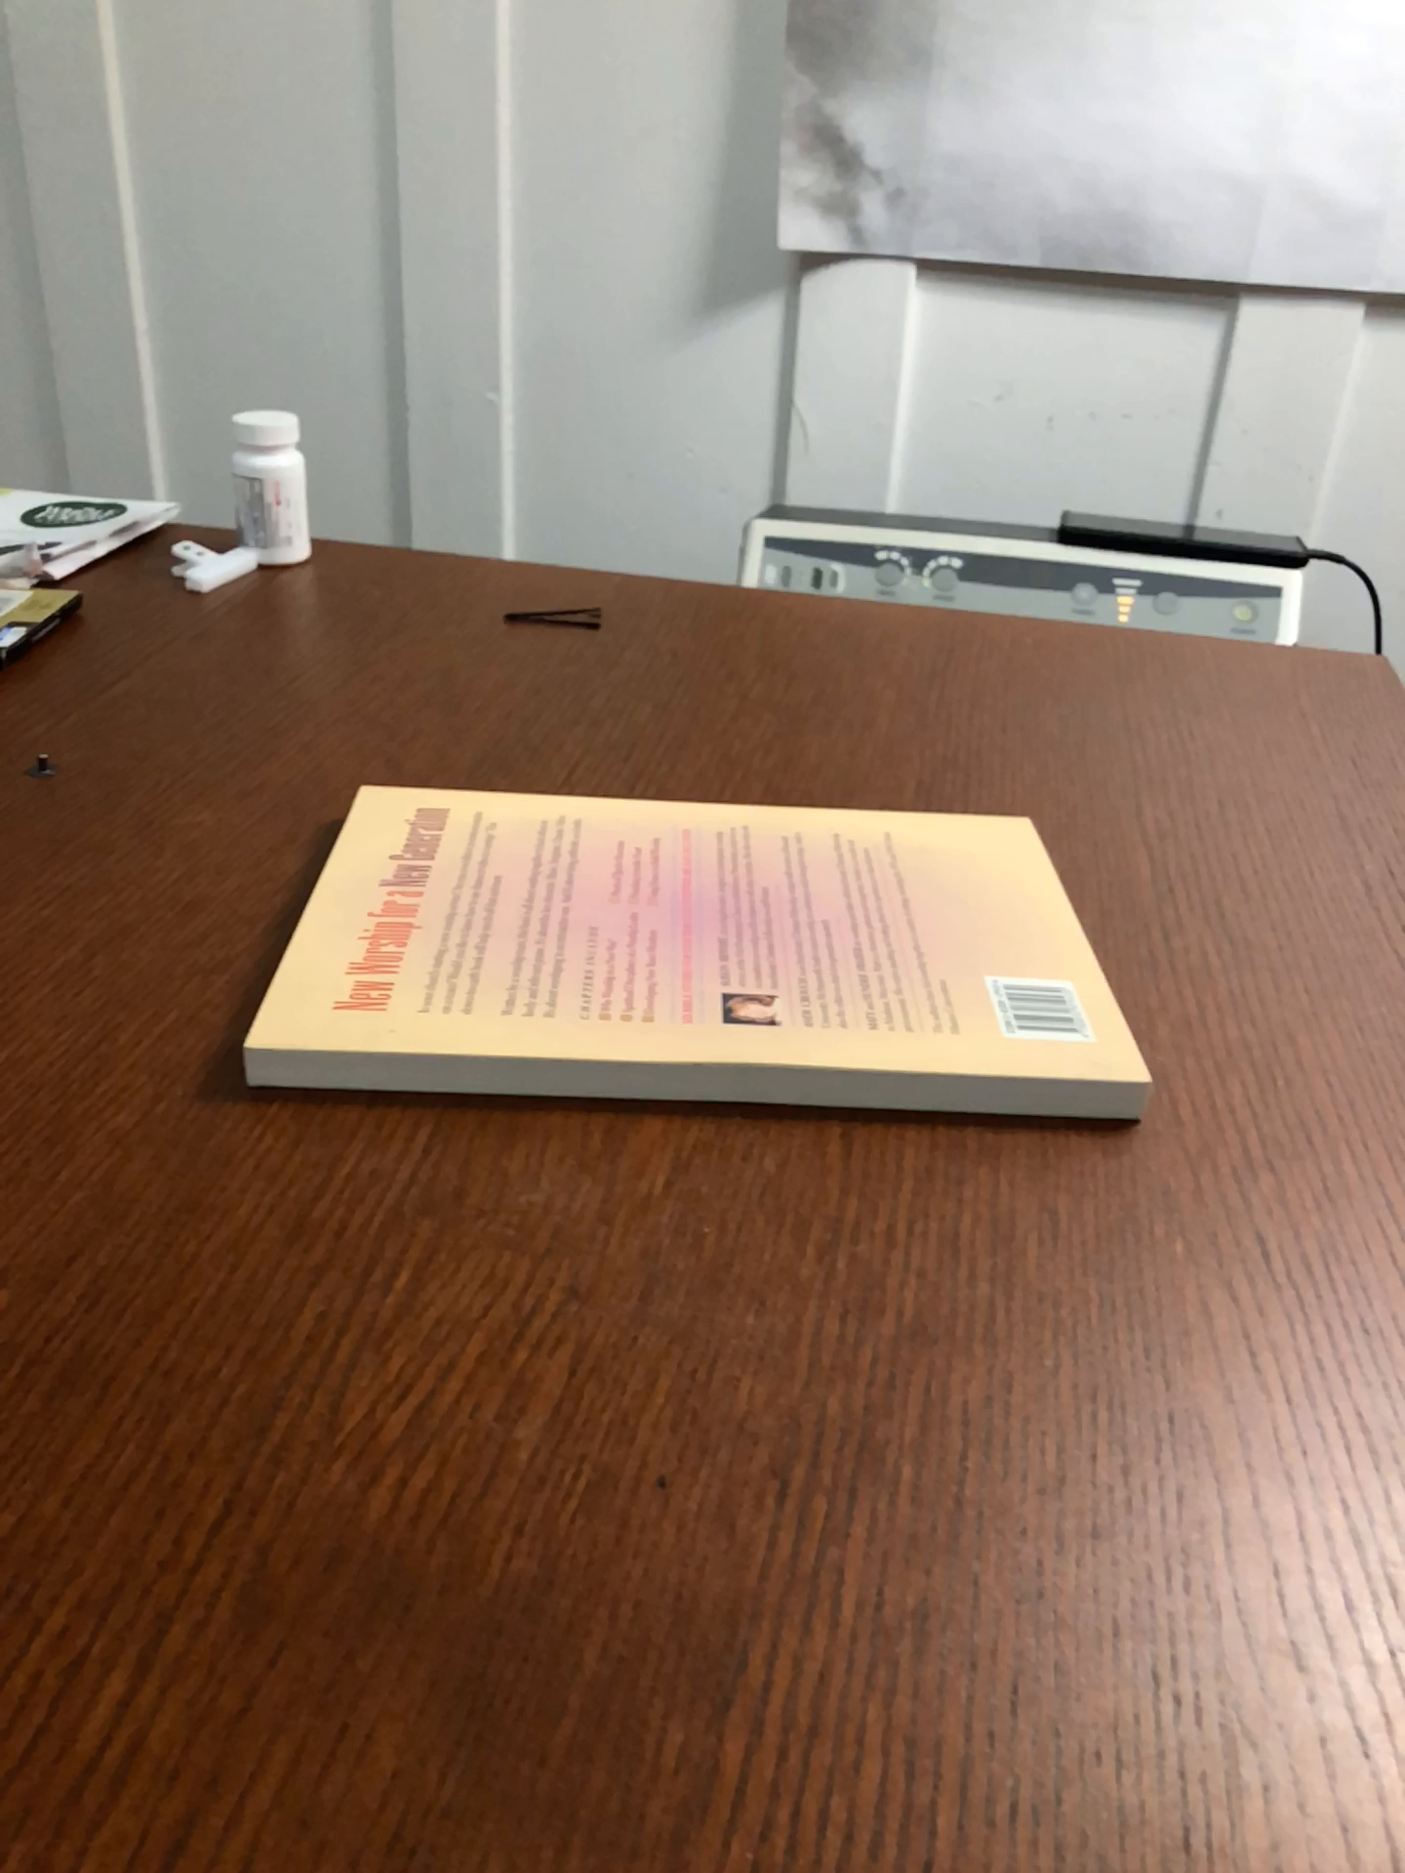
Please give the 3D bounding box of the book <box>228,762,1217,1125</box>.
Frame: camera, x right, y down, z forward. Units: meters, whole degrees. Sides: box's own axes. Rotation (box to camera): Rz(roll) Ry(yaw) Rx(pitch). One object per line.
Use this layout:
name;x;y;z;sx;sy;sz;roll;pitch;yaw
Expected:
book;0.004;-0.006;0.511;0.270;0.020;0.191;2;29;-3
